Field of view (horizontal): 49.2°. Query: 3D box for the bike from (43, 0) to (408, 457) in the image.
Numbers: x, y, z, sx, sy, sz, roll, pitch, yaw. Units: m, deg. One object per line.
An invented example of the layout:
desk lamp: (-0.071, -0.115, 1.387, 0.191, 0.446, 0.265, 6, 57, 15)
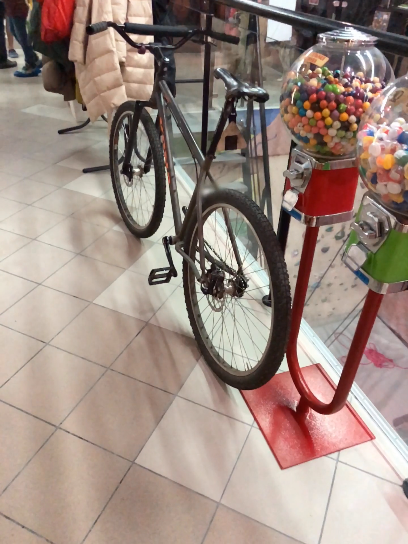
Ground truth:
bike: (-0.075, -0.453, 1.929, 0.749, 1.099, 1.831, -13, 40, -22)
